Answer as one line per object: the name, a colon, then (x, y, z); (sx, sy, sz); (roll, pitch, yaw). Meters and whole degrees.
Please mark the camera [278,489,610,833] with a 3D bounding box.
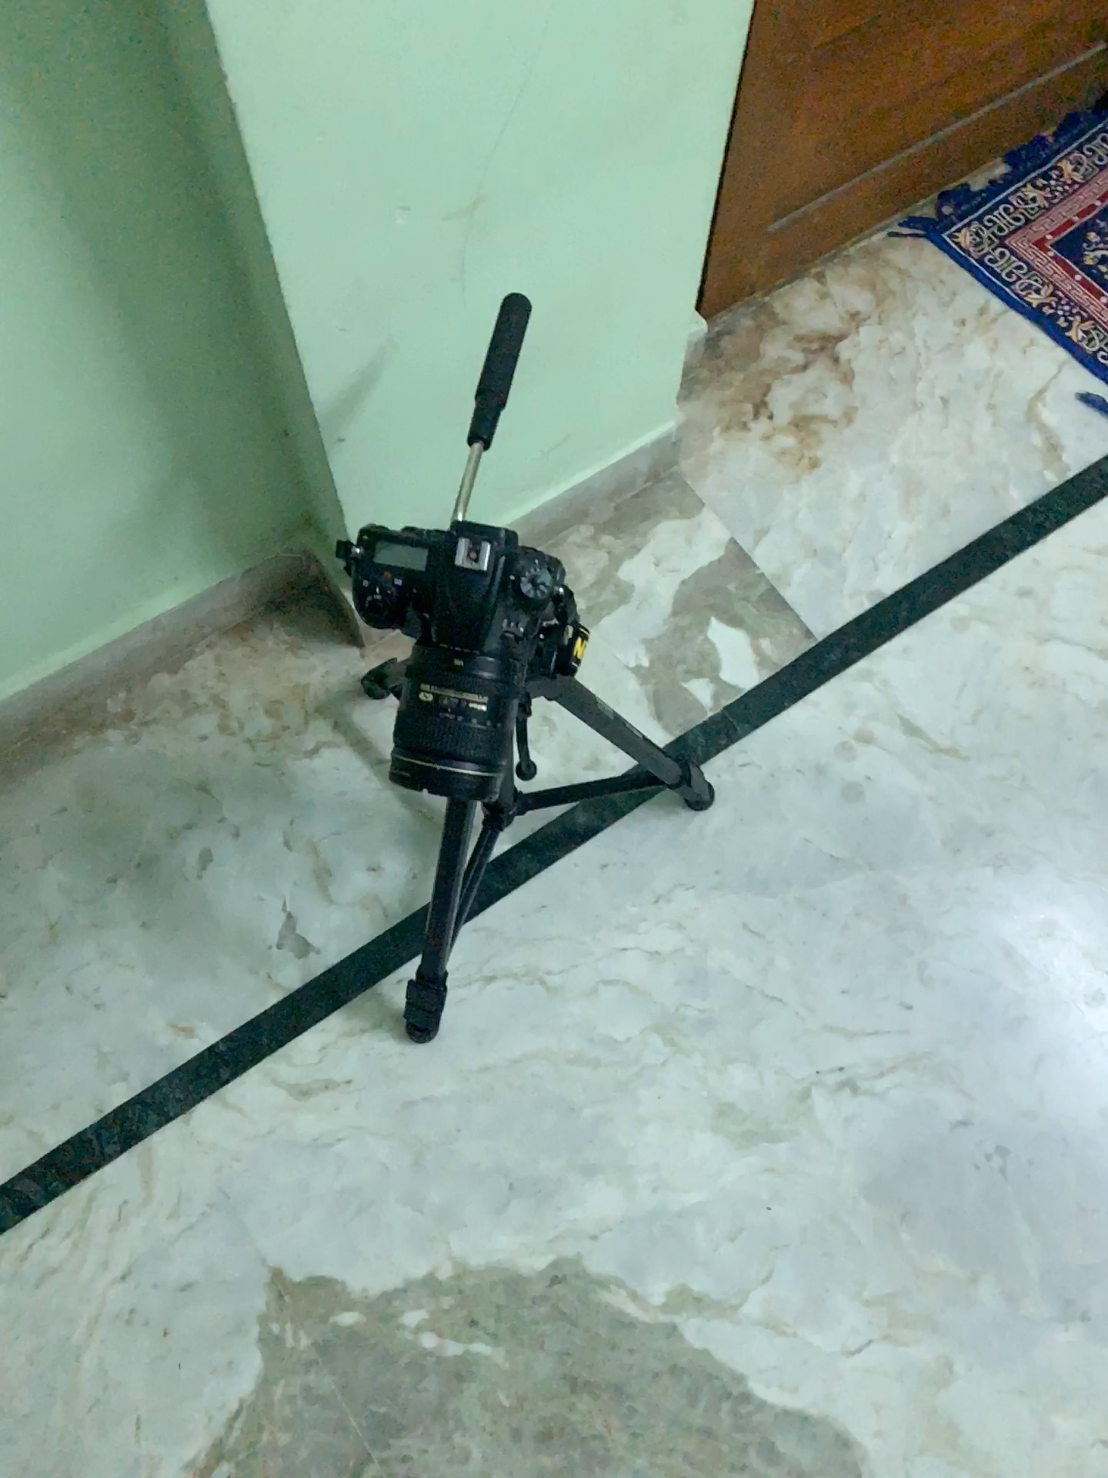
camera: (-0.066, -0.050, 0.745); (0.170, 0.110, 0.180); (12, 92, 4)
